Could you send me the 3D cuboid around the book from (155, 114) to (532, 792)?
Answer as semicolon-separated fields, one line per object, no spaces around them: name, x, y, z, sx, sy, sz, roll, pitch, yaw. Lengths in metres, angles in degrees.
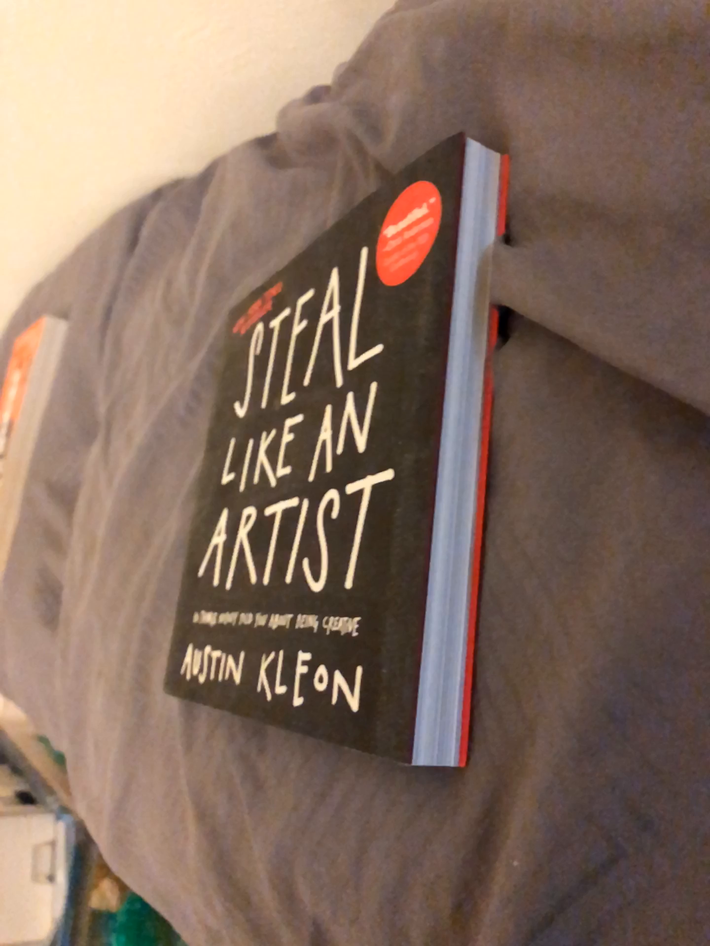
book;-0.014;0.000;0.253;0.161;0.020;0.160;-13;67;56
